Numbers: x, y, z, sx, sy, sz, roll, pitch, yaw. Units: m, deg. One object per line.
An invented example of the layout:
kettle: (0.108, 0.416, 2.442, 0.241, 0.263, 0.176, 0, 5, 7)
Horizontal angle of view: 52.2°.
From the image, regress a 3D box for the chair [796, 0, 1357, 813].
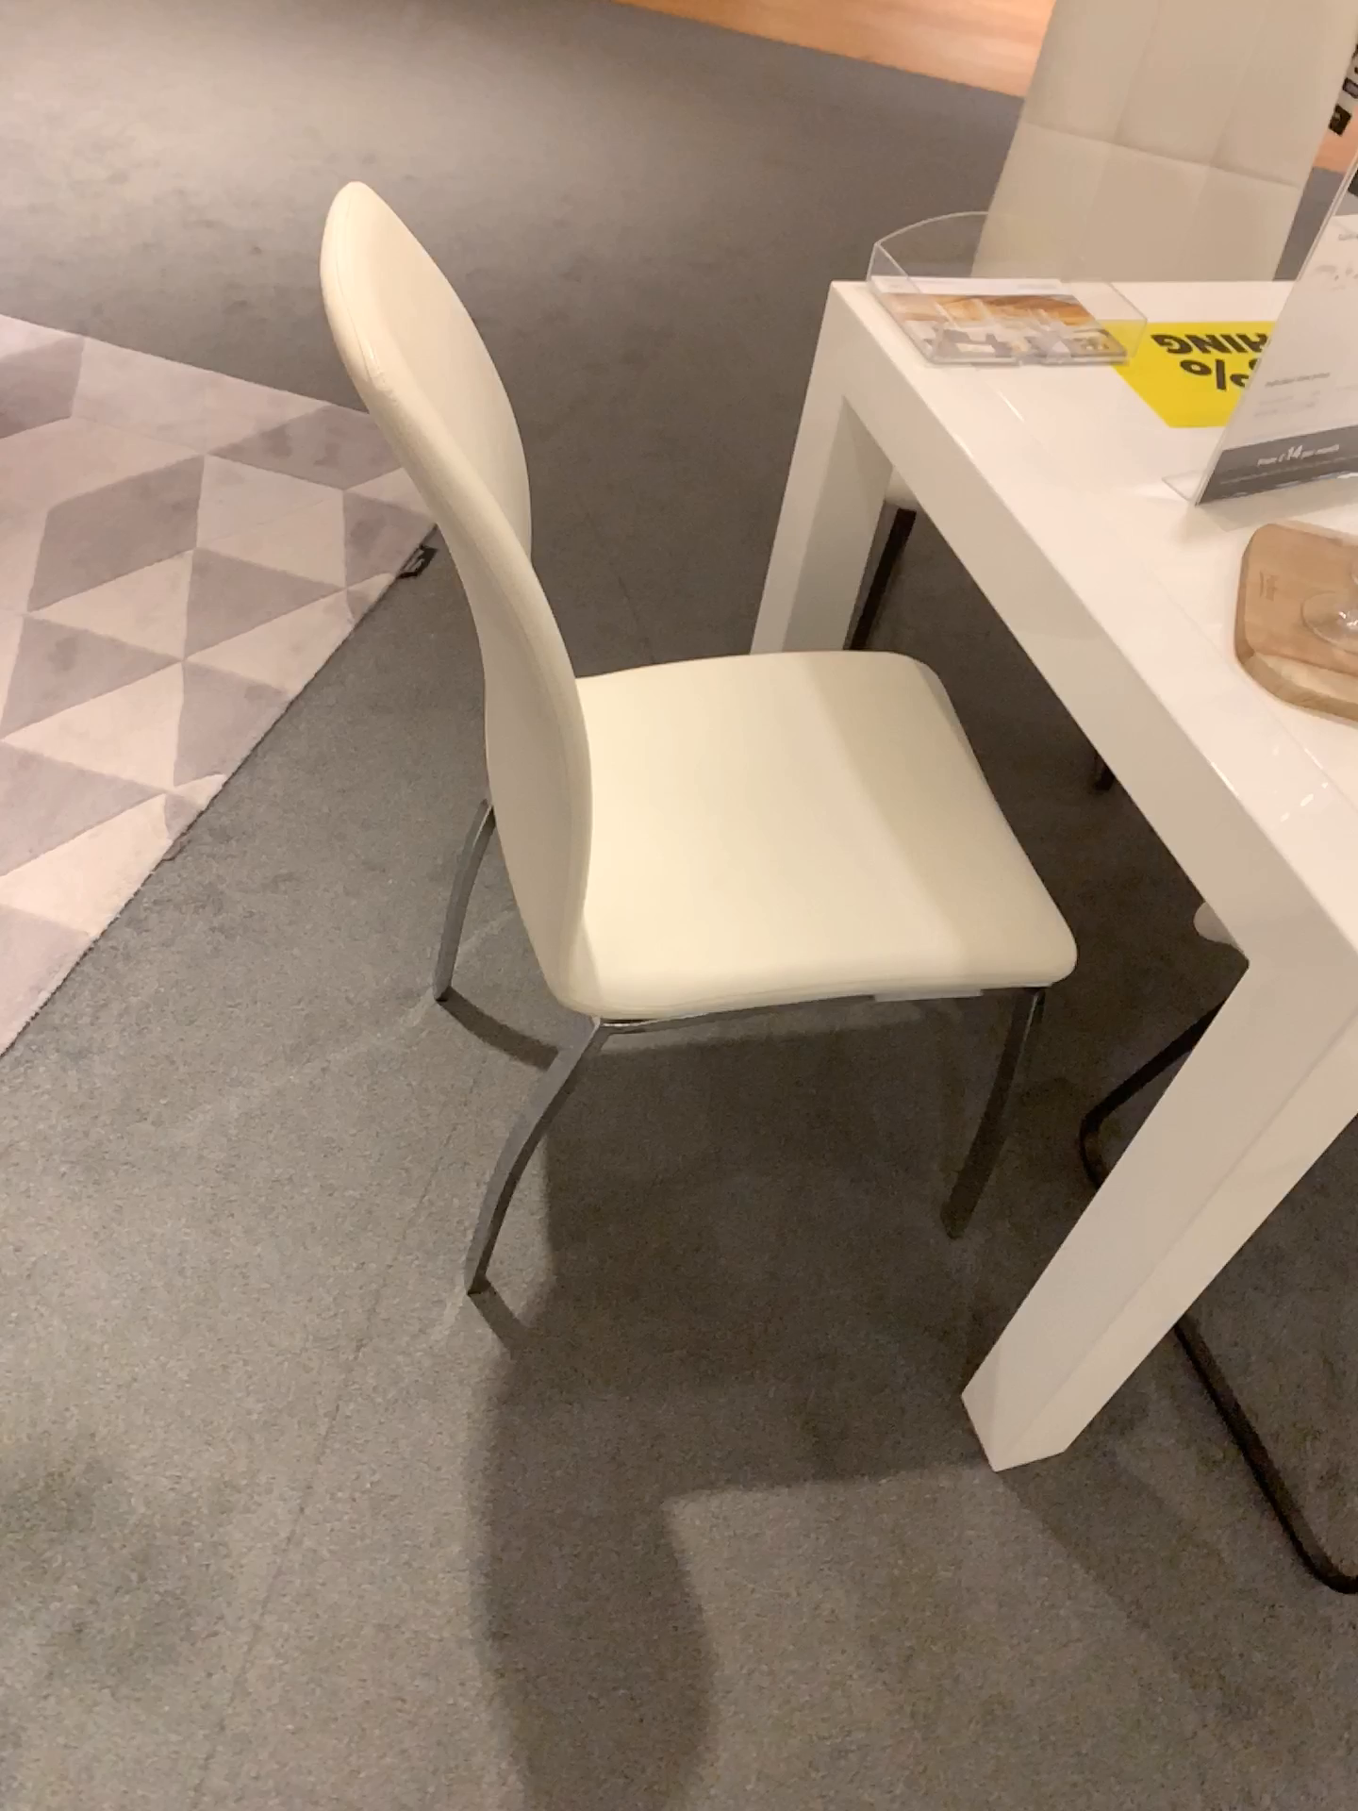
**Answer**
chair: (0.537, -0.700, 1.796, 0.477, 0.908, 0.574, 18, 47, 7)

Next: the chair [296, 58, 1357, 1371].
chair: (0.043, -0.096, 1.181, 0.610, 0.937, 0.491, -7, 49, -16)
